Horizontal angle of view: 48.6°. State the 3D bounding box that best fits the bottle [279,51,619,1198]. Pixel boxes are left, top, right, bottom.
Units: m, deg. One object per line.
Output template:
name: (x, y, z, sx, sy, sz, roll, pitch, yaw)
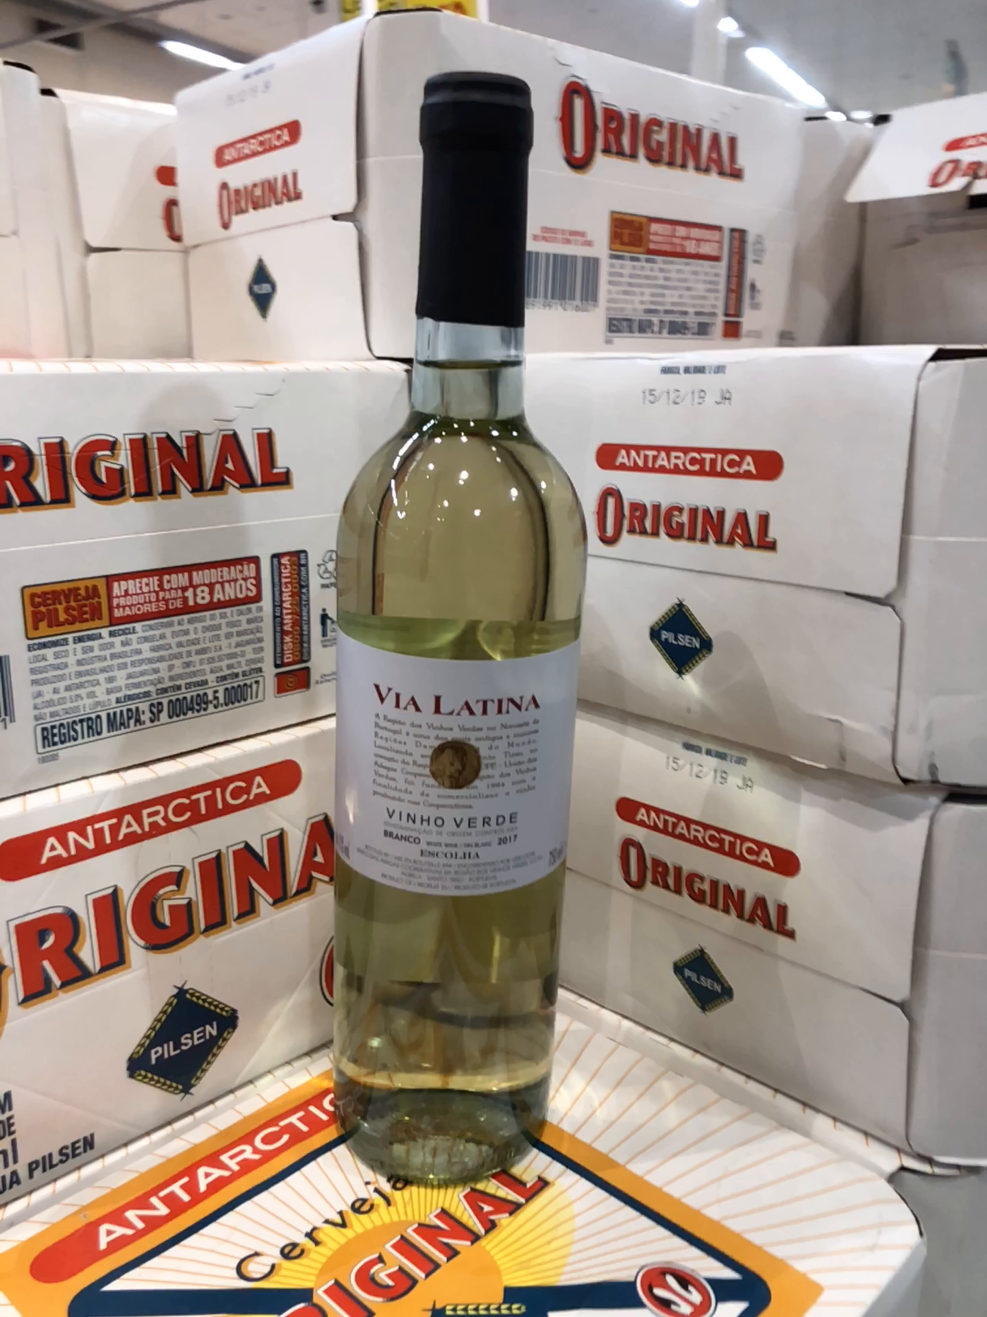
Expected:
bottle: (-0.011, 0.000, 0.325, 0.080, 0.309, 0.070, 2, 14, 4)
